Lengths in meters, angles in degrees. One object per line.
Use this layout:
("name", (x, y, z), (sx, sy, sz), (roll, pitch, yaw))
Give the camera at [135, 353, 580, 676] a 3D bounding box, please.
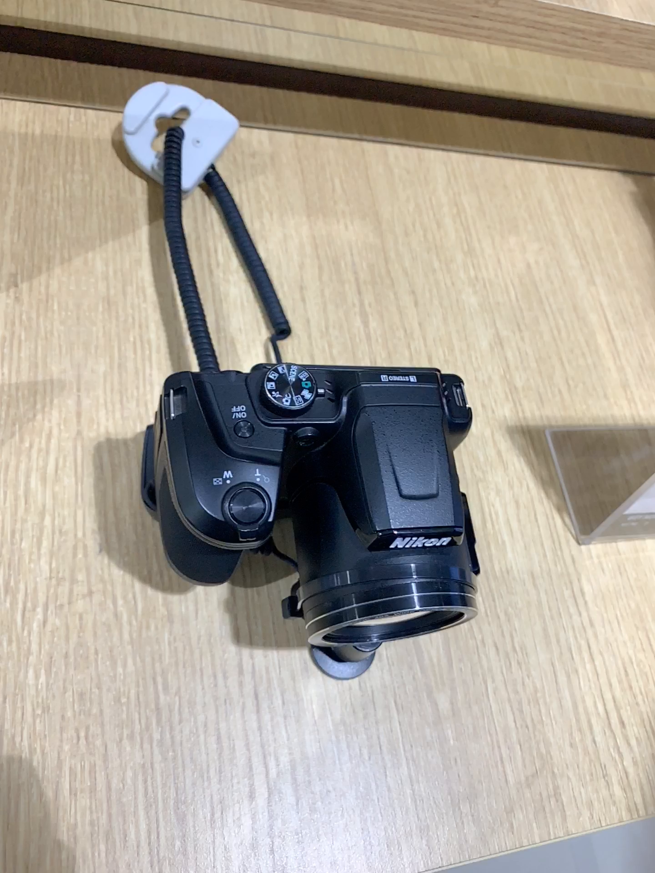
("camera", (0.001, 0.025, 0.226), (0.120, 0.070, 0.080), (-2, 66, -18))
